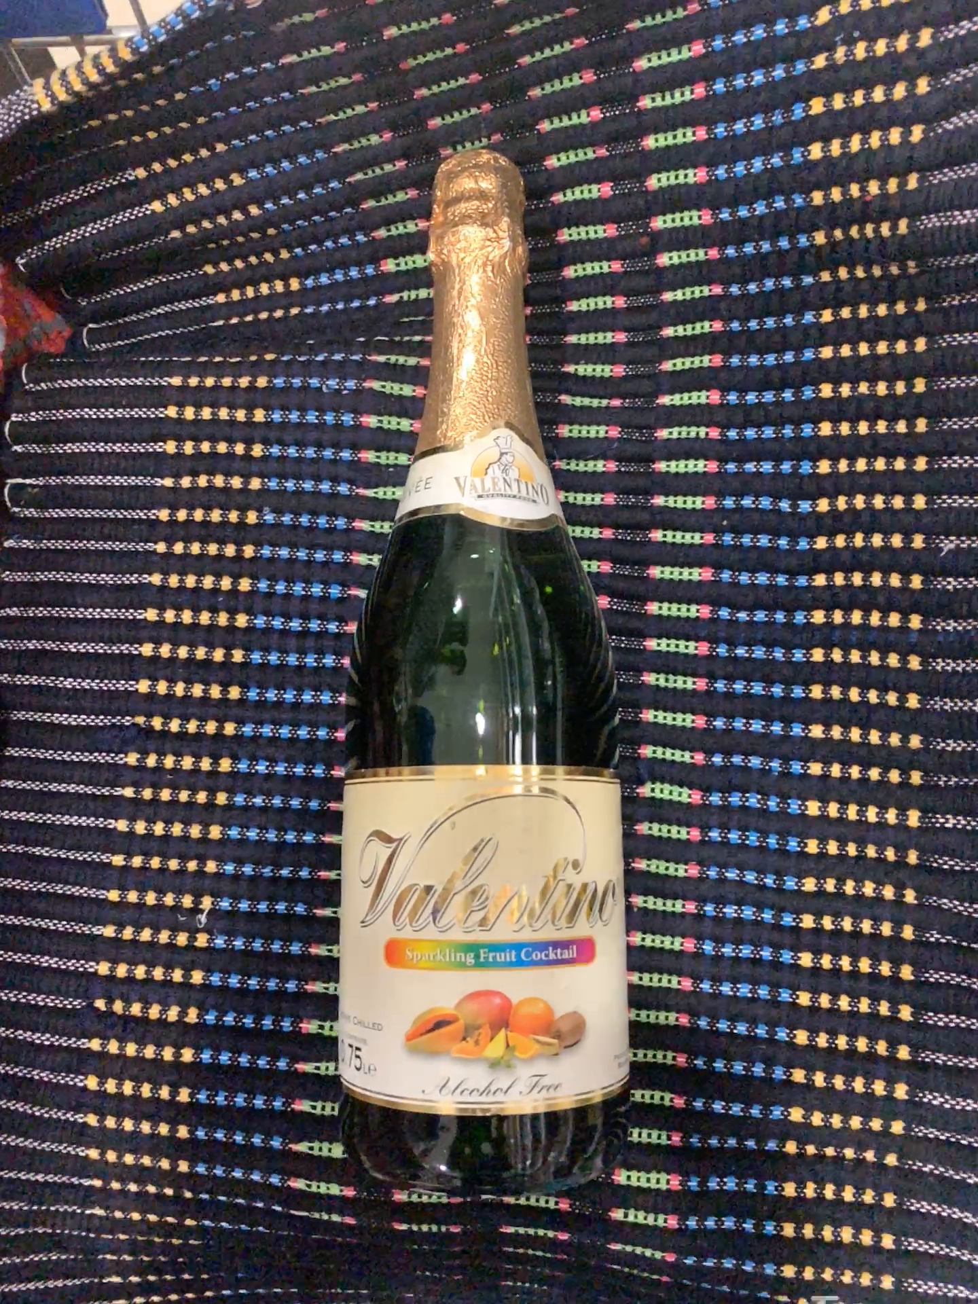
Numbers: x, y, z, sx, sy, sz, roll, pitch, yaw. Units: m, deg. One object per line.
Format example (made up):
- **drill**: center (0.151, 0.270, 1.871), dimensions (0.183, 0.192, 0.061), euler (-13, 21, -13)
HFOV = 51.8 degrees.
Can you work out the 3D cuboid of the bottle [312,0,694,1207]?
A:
- **bottle**: center (0.002, -0.032, 0.312), dimensions (0.090, 0.080, 0.350), euler (0, 78, -1)
